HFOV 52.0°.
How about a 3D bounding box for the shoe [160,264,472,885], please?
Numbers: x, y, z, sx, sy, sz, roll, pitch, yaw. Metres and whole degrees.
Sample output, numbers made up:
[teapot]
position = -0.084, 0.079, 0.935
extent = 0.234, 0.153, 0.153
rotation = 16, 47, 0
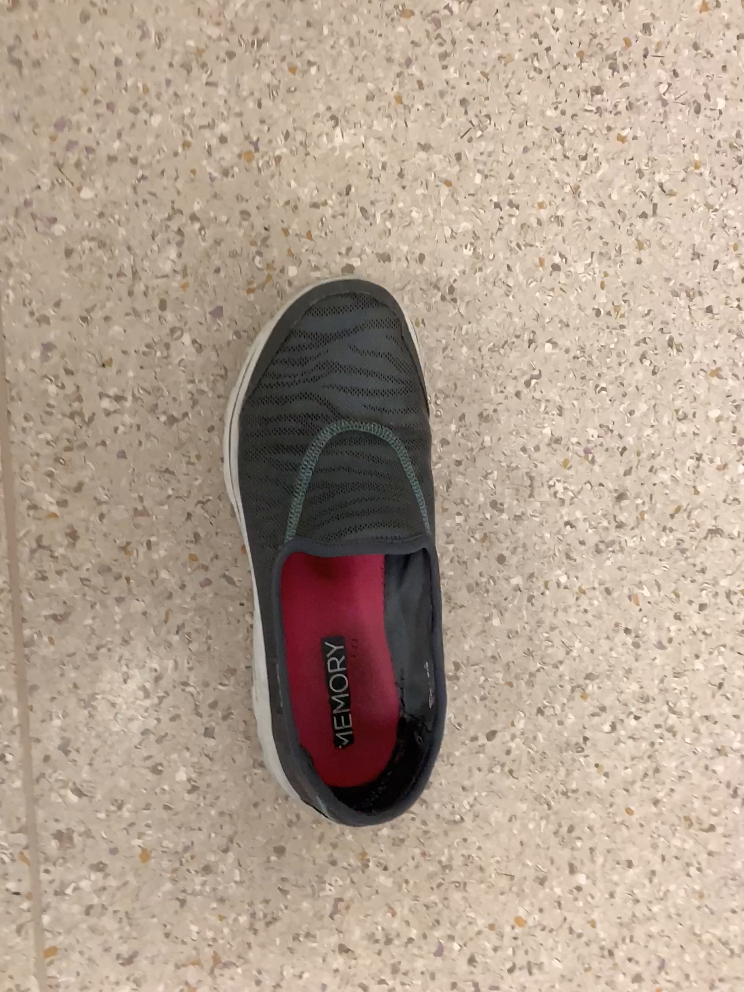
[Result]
[shoe]
position = -0.026, 0.028, 0.342
extent = 0.103, 0.075, 0.239
rotation = -6, 94, -12
